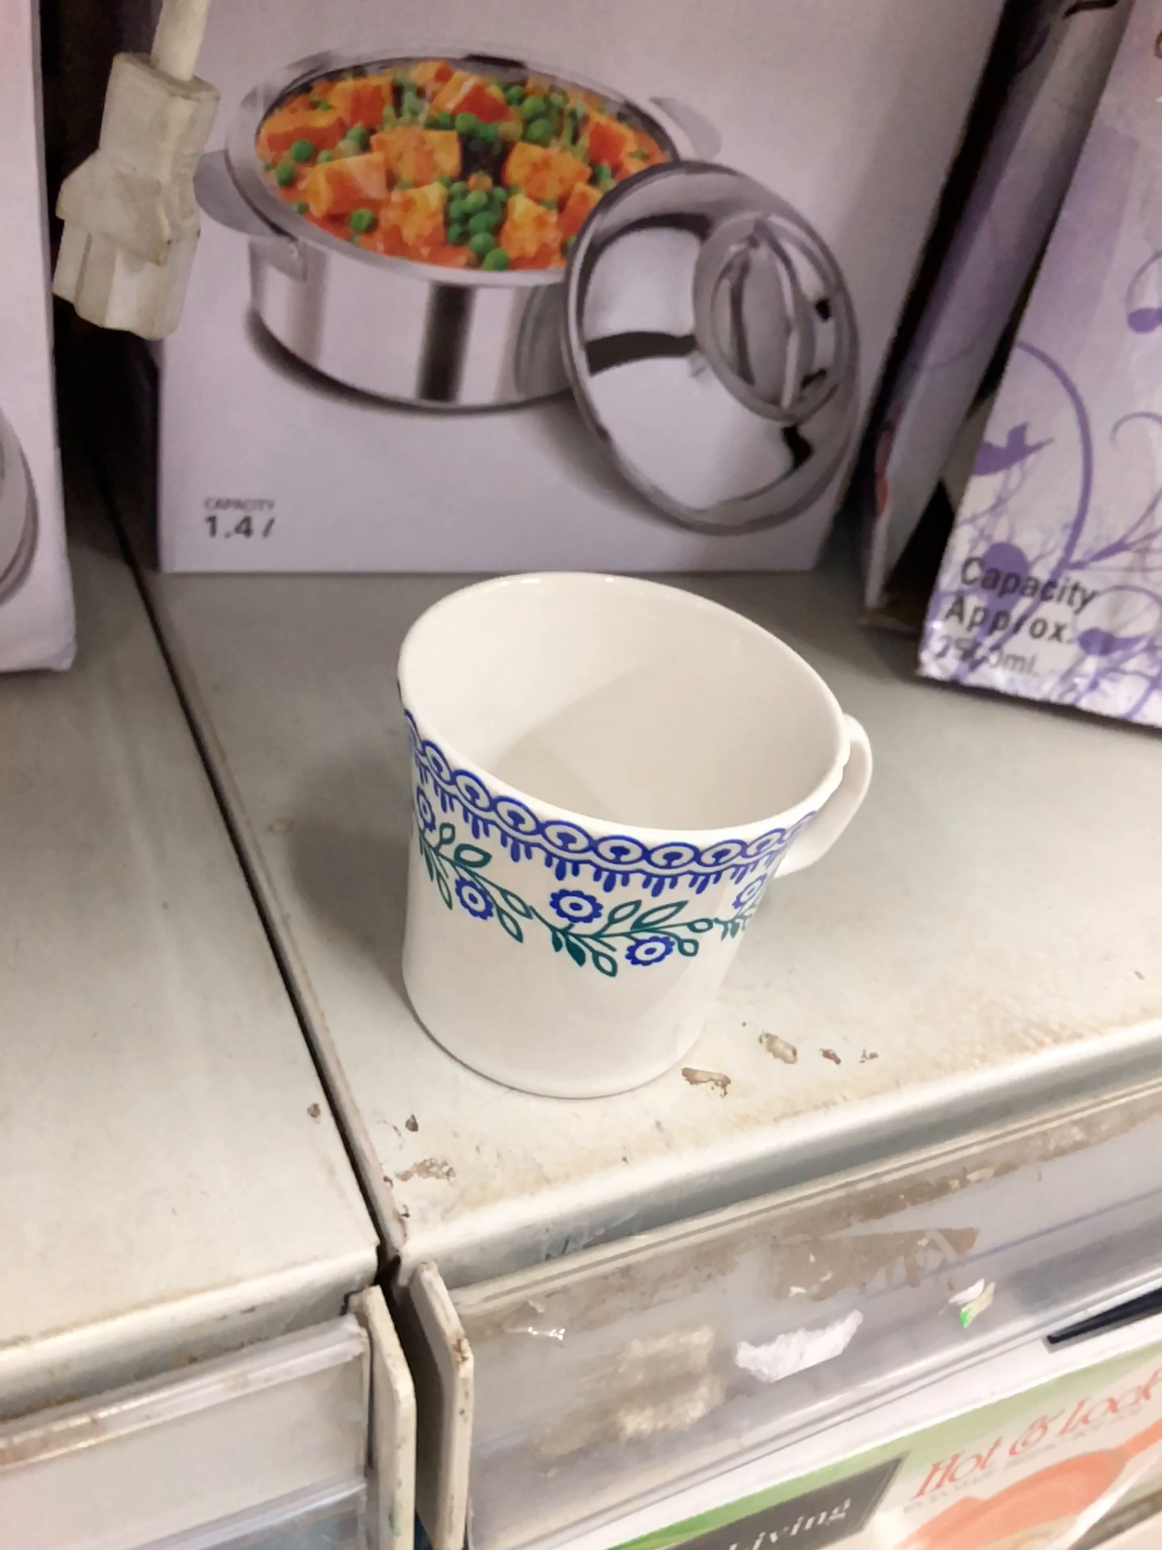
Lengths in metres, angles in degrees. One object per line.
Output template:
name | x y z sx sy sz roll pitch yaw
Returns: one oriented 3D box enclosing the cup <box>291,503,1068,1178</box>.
cup | 0.012 0.004 0.228 0.100 0.069 0.070 -12 44 -31
